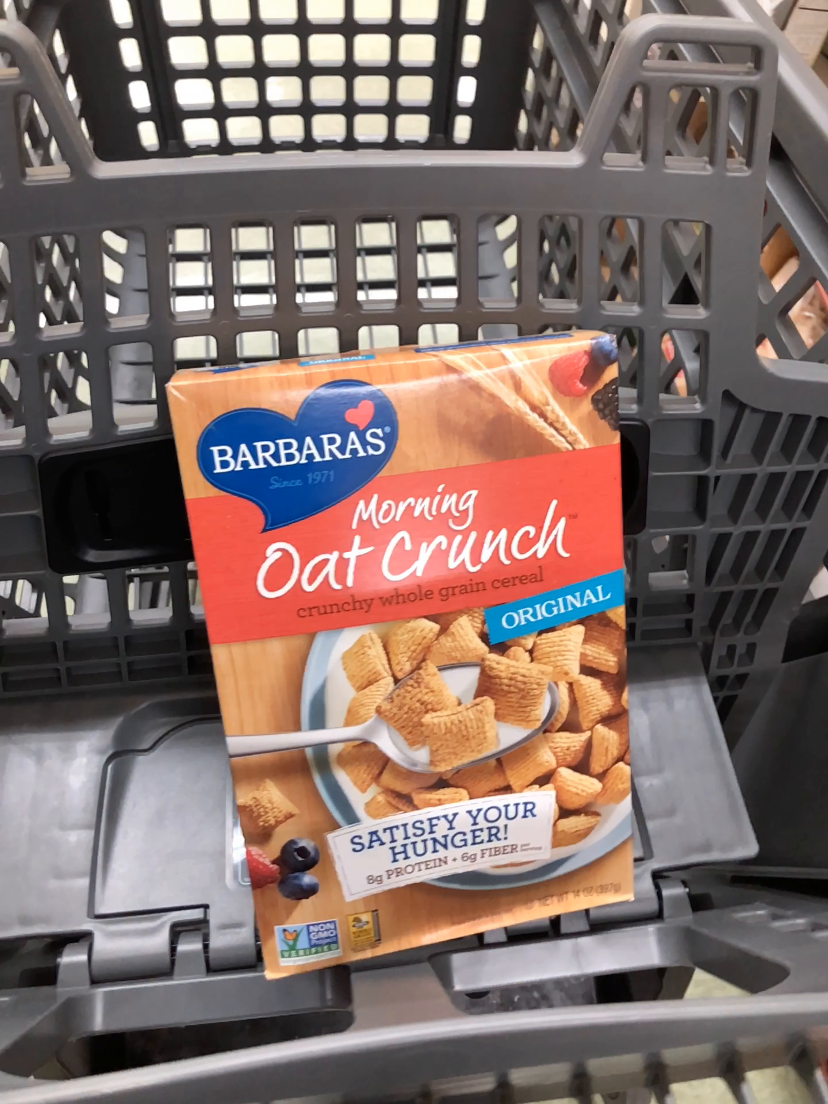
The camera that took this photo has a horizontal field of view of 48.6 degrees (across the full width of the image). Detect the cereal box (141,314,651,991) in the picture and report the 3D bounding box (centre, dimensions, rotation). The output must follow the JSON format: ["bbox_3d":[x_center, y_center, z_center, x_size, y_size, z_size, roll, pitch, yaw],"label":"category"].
[{"bbox_3d":[0.001,0.042,0.394,0.180,0.260,0.060,-9,17,-9],"label":"cereal box"}]
